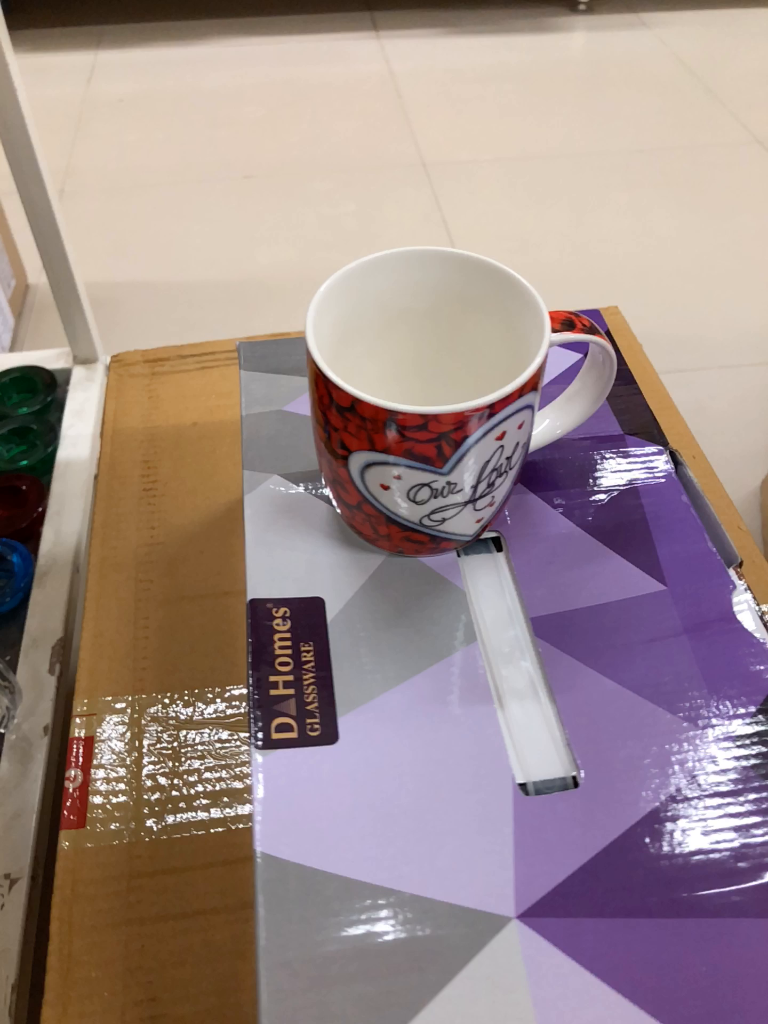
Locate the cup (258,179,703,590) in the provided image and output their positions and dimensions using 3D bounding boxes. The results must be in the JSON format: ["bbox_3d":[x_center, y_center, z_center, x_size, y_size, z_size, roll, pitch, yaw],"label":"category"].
[{"bbox_3d":[0.031,-0.052,0.335,0.130,0.099,0.090,-16,49,-13],"label":"cup"}]
